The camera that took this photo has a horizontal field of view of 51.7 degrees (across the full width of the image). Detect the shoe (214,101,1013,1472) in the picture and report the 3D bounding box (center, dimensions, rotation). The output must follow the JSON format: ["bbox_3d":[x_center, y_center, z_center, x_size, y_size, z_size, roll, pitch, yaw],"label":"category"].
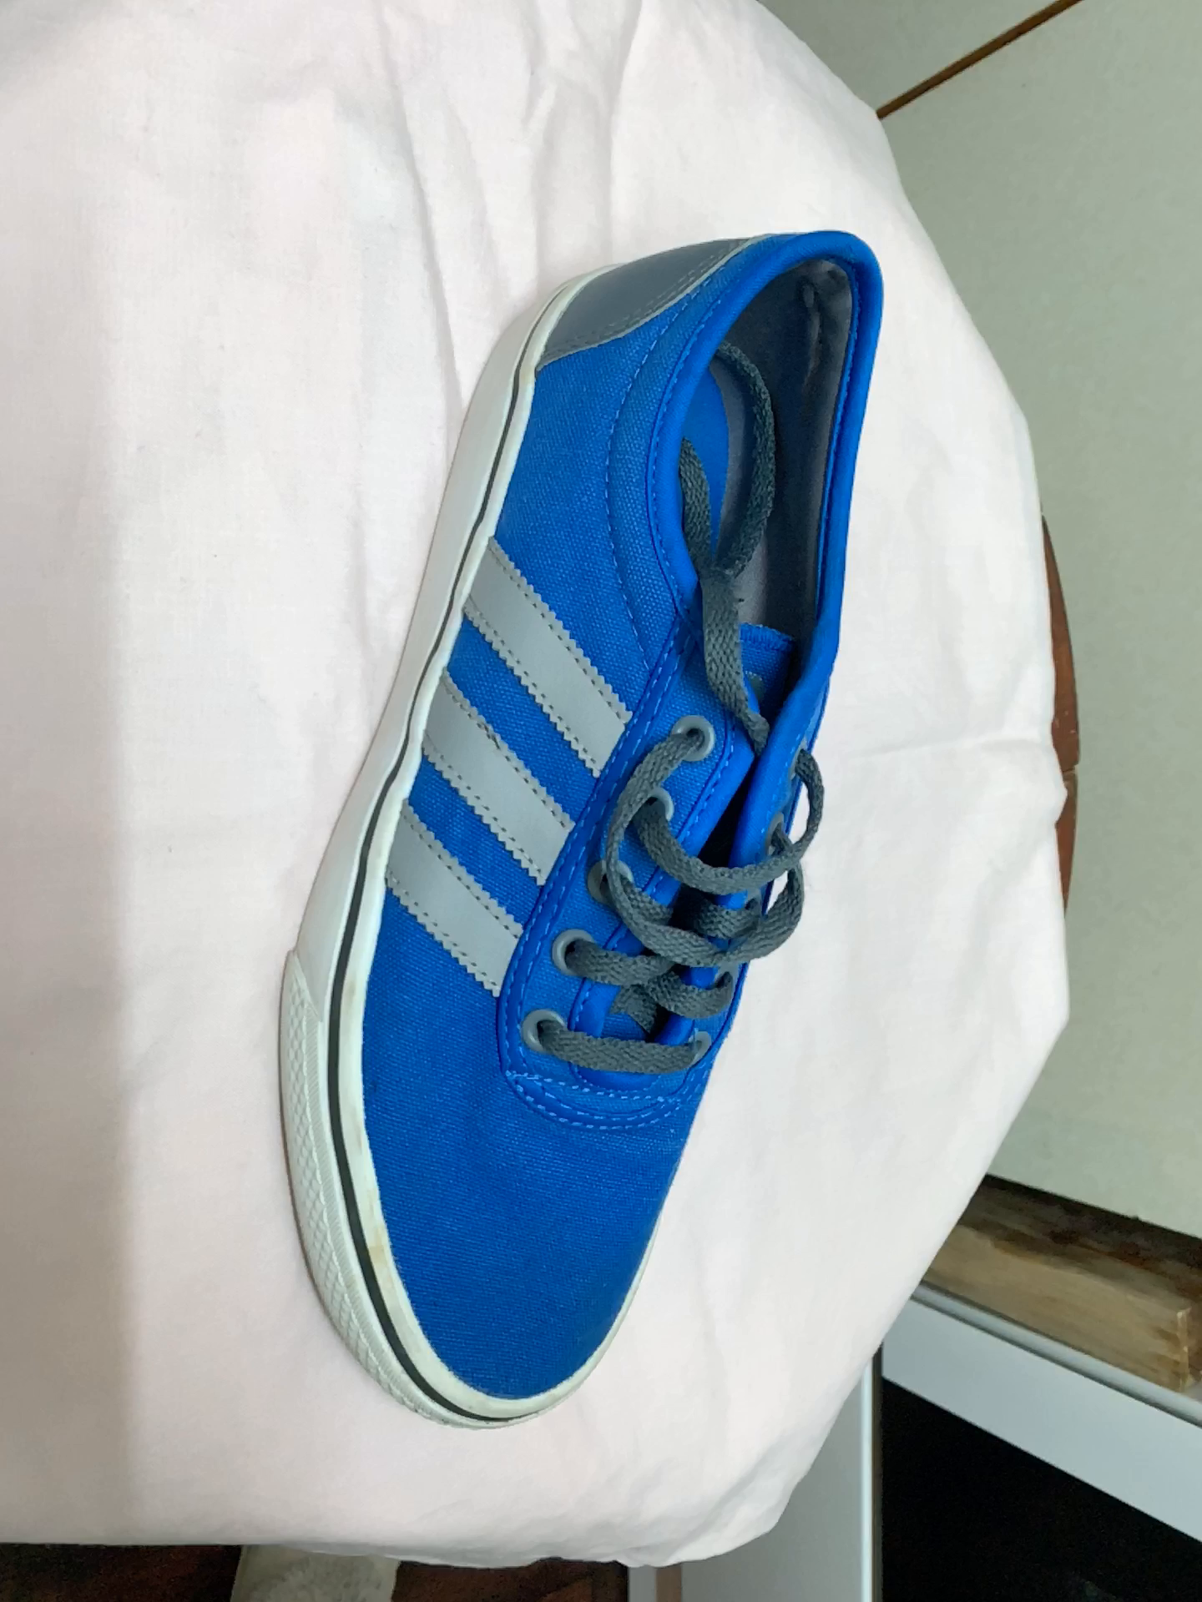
[{"bbox_3d":[0.004,0.000,0.271,0.100,0.090,0.234,15,82,-34],"label":"shoe"}]
